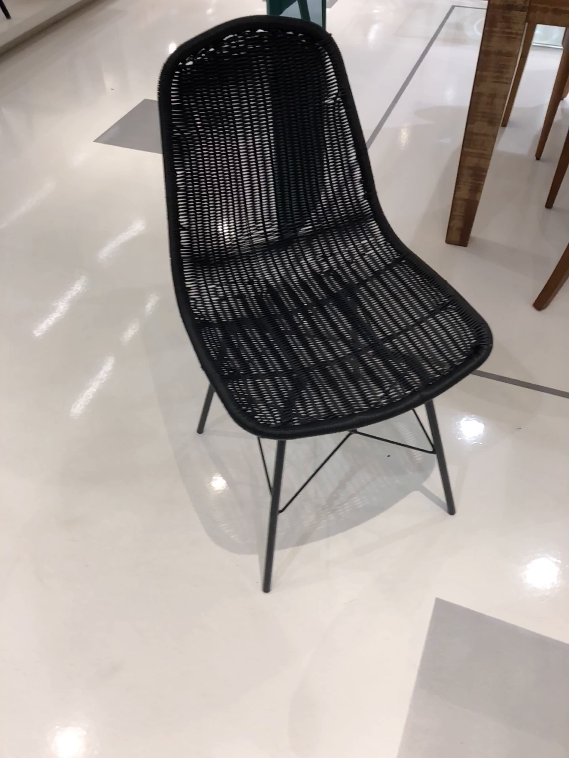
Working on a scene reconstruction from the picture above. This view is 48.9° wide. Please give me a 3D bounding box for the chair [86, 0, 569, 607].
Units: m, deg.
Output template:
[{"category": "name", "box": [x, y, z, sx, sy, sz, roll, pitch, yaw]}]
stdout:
[{"category": "chair", "box": [0.056, -0.114, 1.084, 0.480, 0.794, 0.554, -19, 49, -15]}]
